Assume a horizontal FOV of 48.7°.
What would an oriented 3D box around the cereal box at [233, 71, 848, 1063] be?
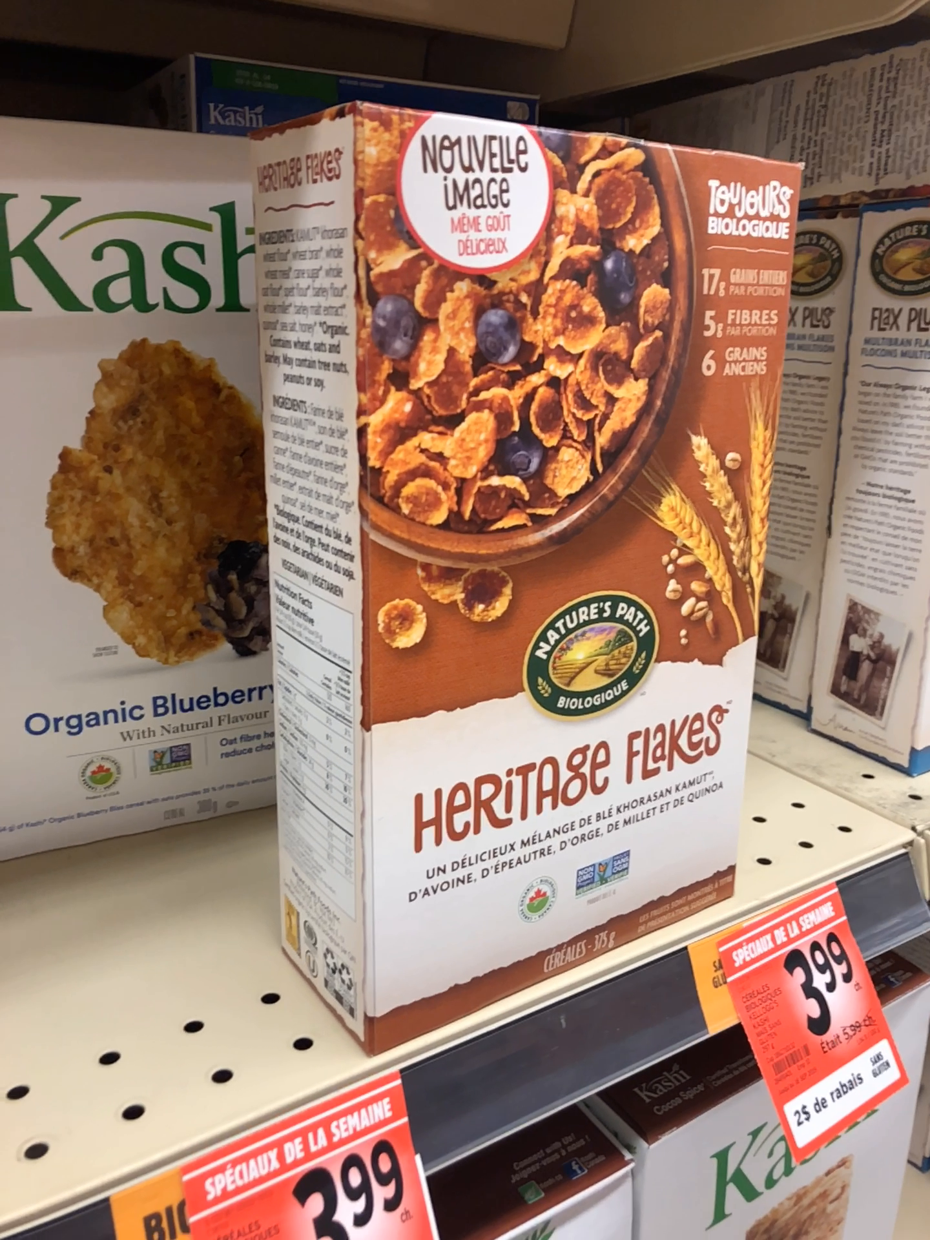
[{"bbox_3d":[0.025,-0.018,0.334,0.170,0.259,0.070,-10,20,-33],"label":"cereal box"}]
